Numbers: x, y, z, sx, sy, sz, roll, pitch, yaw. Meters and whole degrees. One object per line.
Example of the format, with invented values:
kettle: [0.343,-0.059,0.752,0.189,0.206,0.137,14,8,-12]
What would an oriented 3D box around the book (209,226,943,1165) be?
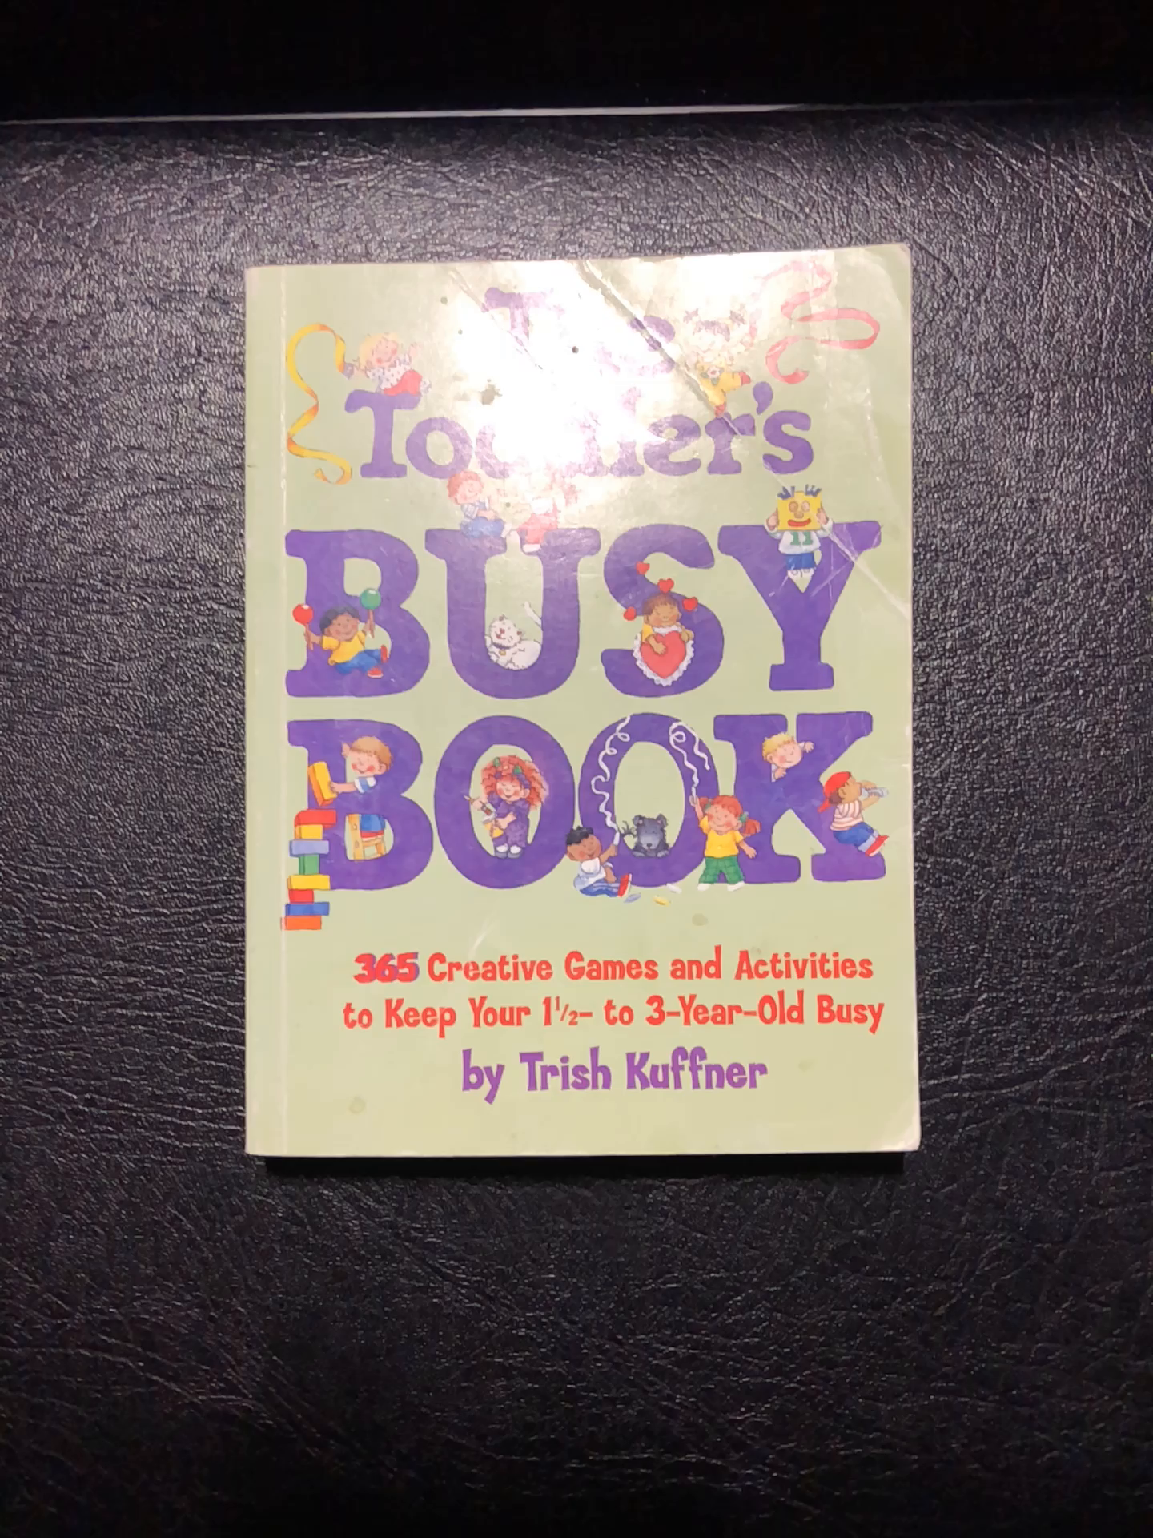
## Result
book: [-0.001,-0.014,0.259,0.136,0.033,0.176,-1,88,0]
